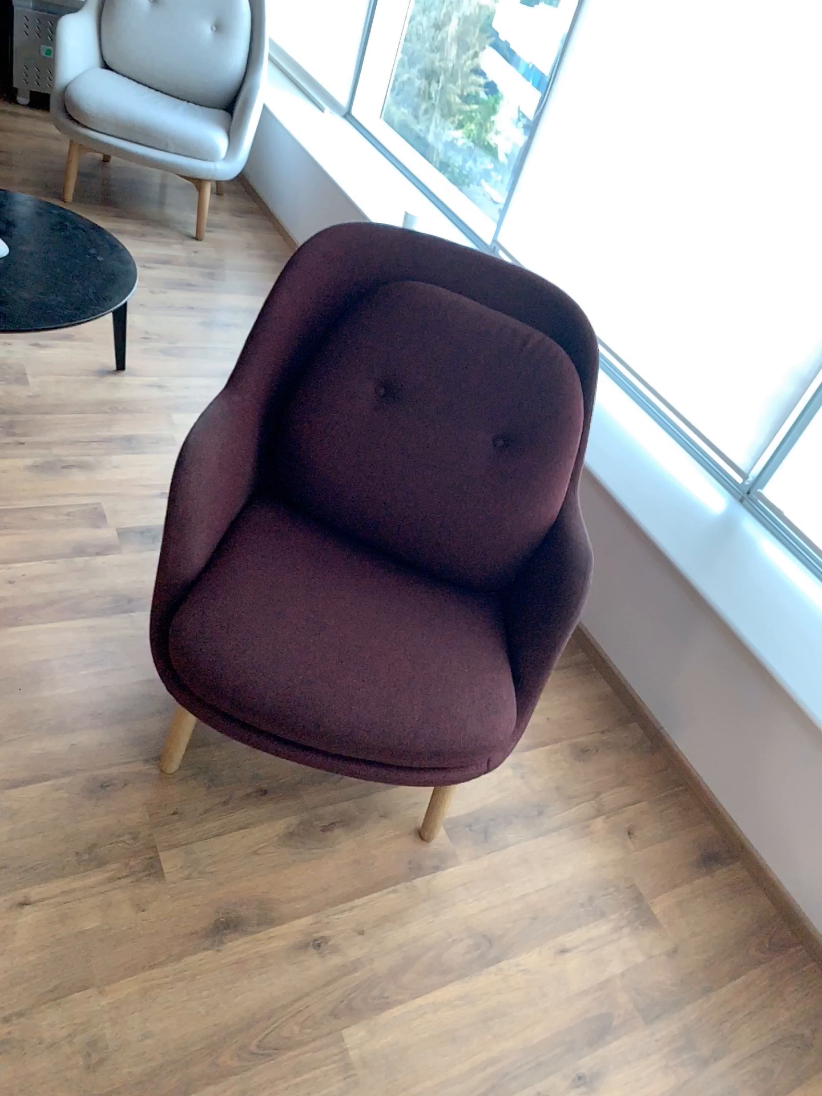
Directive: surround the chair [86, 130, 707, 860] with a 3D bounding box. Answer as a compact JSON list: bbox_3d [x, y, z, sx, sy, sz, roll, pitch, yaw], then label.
[{"bbox_3d":[-0.073,-0.070,1.493,0.690,0.932,0.635,18,37,-4],"label":"chair"}]
